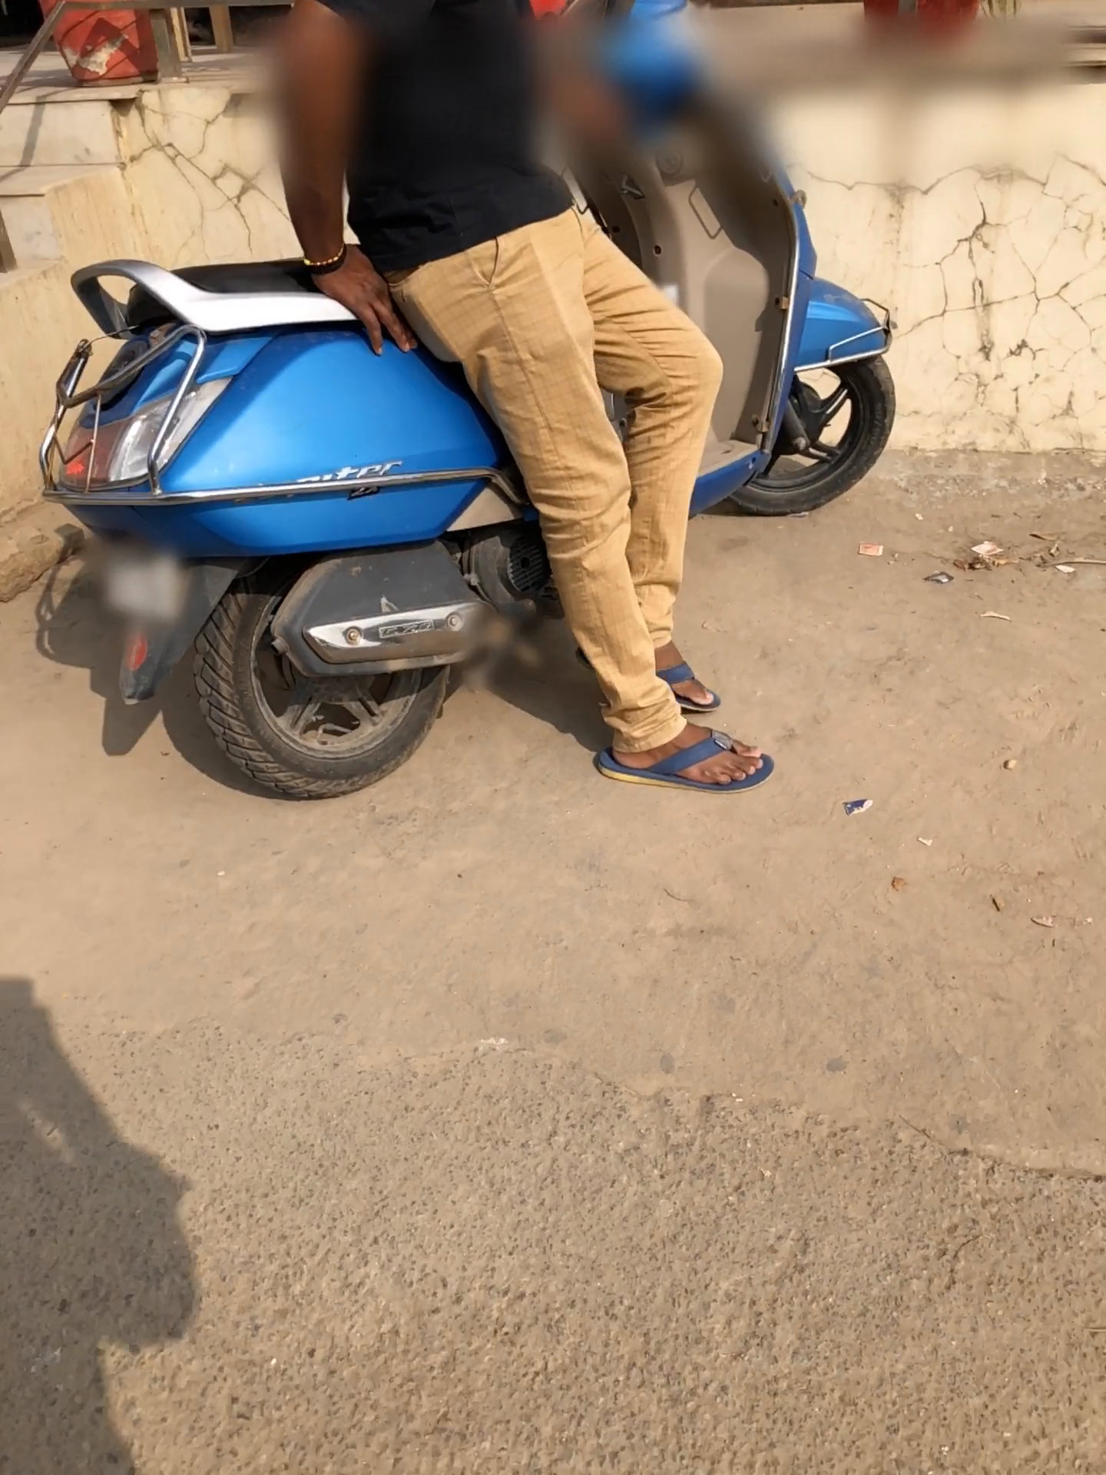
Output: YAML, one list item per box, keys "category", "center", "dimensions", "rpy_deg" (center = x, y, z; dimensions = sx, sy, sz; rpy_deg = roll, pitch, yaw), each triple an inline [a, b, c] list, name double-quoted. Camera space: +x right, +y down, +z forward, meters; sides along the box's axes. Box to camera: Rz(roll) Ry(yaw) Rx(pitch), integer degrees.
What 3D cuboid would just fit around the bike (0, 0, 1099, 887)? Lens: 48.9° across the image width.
- category: "bike"
  center: [0.085, -0.651, 2.041]
  dimensions: [1.576, 1.021, 0.594]
  rpy_deg: [-29, 41, -30]
